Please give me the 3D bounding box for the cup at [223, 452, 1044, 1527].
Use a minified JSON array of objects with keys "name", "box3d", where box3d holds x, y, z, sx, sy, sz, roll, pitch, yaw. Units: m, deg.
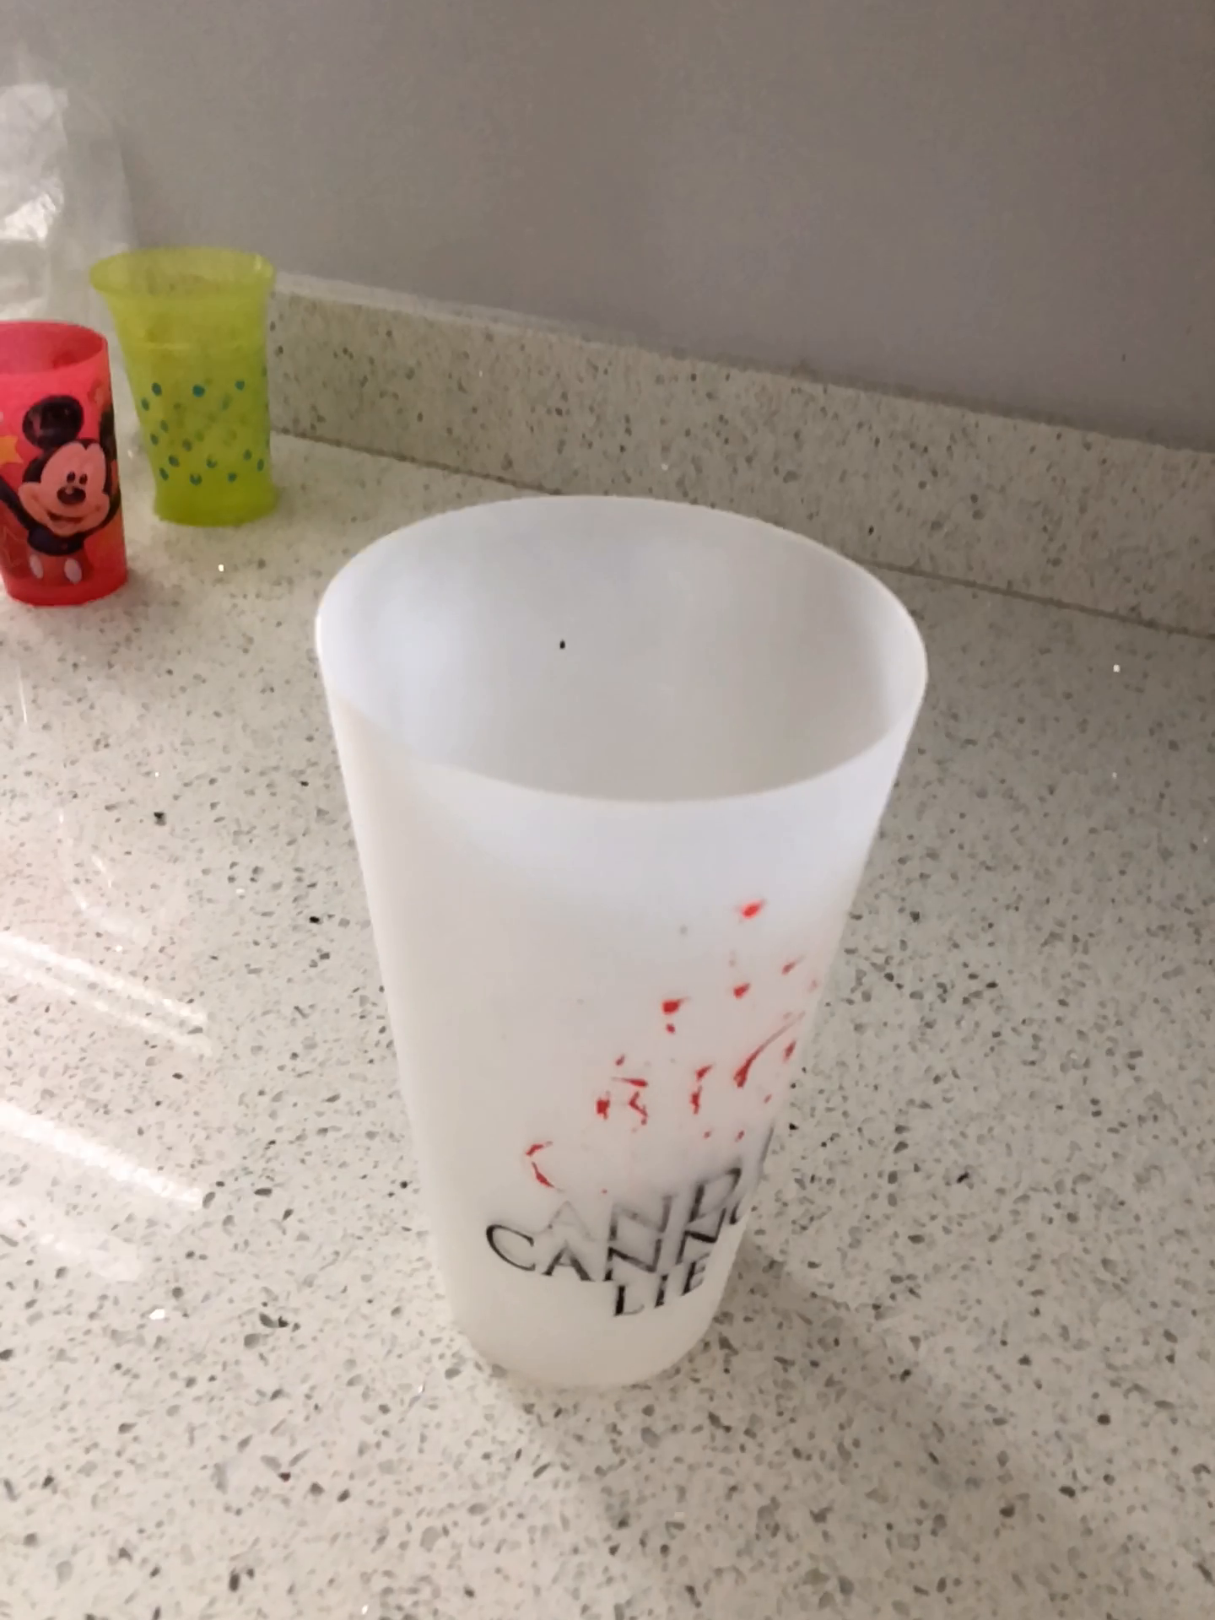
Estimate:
[{"name":"cup","box3d":[-0.004,0.034,0.258,0.096,0.166,0.094,2,37,-1]}]
